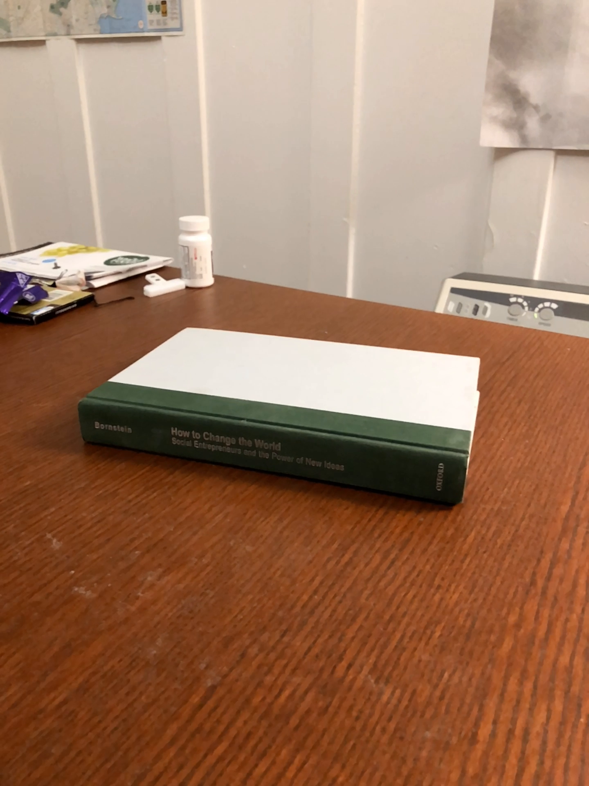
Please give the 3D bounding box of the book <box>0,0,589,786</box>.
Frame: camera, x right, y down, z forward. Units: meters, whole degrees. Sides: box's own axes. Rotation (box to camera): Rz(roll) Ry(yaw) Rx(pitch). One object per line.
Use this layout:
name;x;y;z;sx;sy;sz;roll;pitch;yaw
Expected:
book;0.290;-0.324;0.262;1.000;0.995;1.005;-1;24;-2
